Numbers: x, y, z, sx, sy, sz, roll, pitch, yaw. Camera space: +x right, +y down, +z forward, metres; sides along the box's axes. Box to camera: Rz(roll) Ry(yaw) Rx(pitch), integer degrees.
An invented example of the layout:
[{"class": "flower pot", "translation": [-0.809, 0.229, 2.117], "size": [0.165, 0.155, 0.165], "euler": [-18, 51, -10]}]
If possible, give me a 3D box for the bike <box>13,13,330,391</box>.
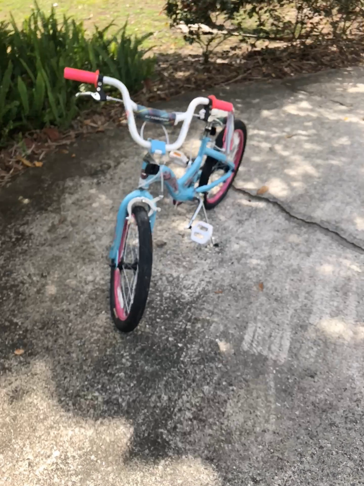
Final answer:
[{"class": "bike", "translation": [0.122, -0.329, 1.697], "size": [0.700, 0.923, 1.316], "euler": [13, 40, 19]}]
